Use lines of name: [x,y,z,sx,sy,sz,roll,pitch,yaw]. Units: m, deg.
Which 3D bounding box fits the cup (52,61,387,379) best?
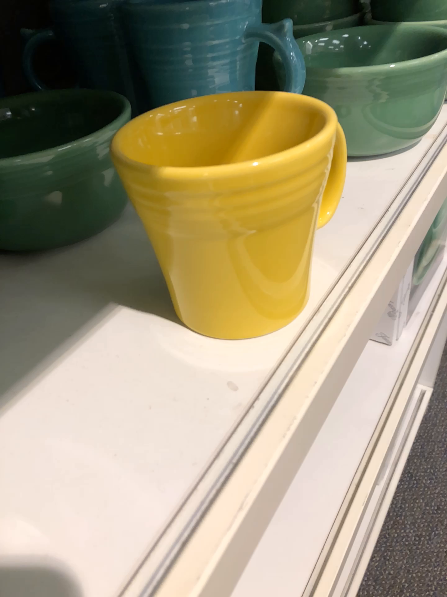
cup: [0.007,-0.054,0.268,0.097,0.100,0.138,22,46,31]
